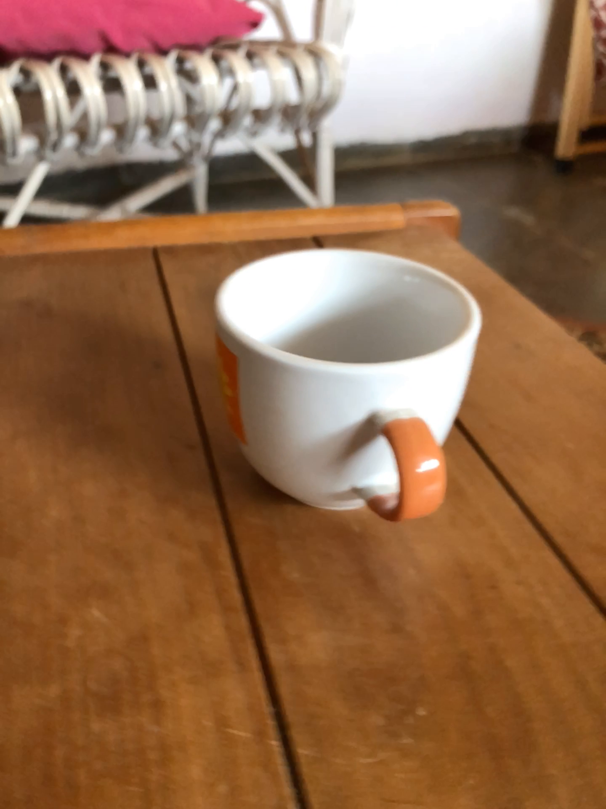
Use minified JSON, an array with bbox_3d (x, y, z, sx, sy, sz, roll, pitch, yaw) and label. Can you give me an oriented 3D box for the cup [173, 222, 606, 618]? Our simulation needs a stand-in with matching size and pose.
[{"bbox_3d":[0.015,-0.006,0.219,0.090,0.060,0.111,-10,37,-16],"label":"cup"}]
